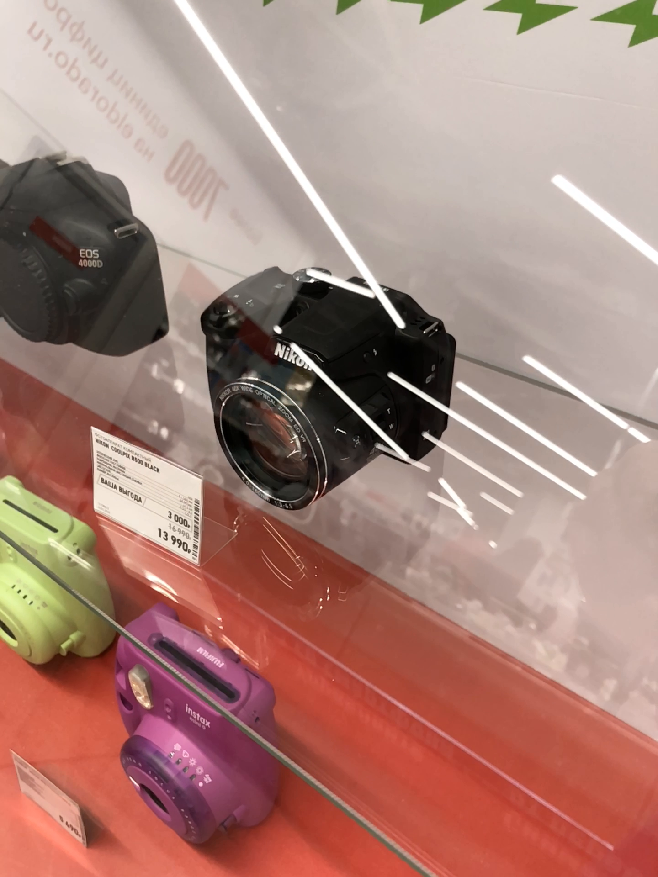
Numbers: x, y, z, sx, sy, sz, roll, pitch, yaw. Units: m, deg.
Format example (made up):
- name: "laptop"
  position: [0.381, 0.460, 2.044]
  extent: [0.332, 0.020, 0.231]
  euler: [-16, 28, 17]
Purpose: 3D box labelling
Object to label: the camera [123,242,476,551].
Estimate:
- name: "camera"
  position: [-0.012, -0.028, 0.337]
  extent: [0.115, 0.070, 0.100]
  euler: [27, 45, 31]
